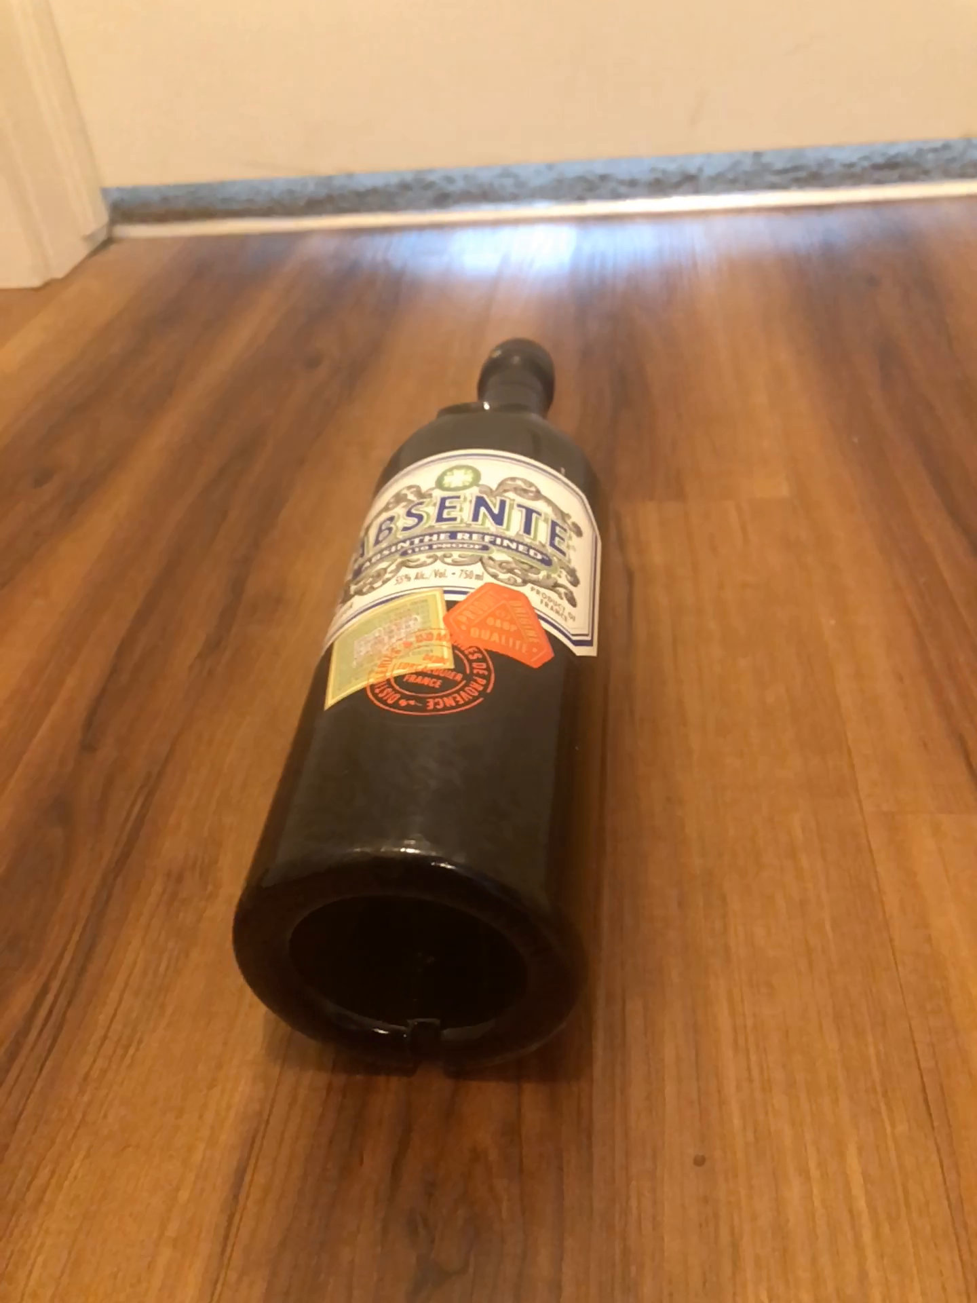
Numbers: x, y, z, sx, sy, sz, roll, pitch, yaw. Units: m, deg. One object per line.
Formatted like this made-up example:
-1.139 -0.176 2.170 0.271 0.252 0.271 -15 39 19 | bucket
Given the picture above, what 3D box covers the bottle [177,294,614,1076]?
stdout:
-0.003 -0.024 0.348 0.080 0.070 0.301 0 38 8 | bottle
